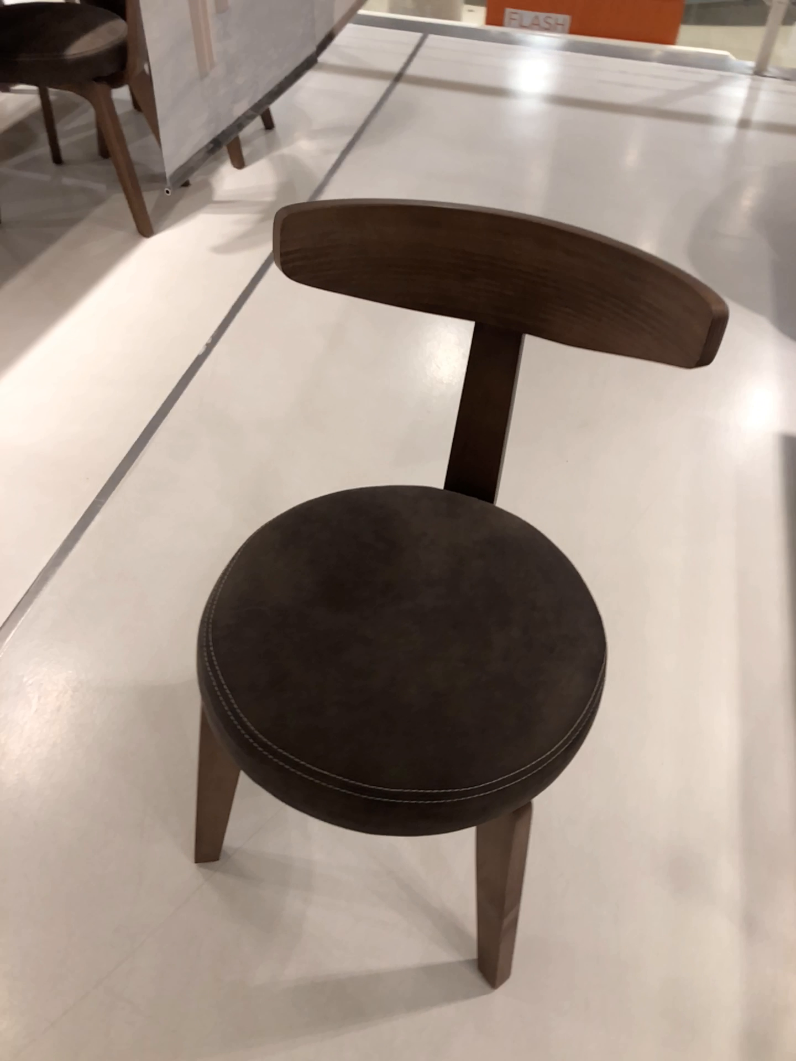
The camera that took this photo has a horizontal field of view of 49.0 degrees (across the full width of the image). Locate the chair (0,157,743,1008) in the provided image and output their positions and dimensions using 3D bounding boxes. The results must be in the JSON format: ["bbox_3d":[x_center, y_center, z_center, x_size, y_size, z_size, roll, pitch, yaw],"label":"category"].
[{"bbox_3d":[0.013,0.072,0.969,0.470,0.705,0.493,16,46,13],"label":"chair"}]
